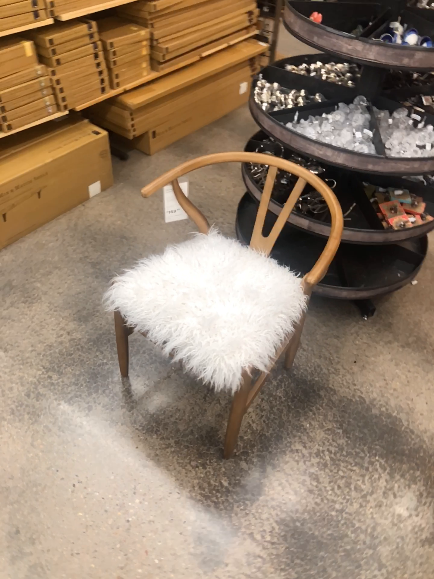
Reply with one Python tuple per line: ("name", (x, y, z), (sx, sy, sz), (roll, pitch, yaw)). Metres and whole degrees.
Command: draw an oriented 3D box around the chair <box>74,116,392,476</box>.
("chair", (0.025, 0.015, 1.406), (0.558, 0.732, 0.530), (34, 52, 26))
